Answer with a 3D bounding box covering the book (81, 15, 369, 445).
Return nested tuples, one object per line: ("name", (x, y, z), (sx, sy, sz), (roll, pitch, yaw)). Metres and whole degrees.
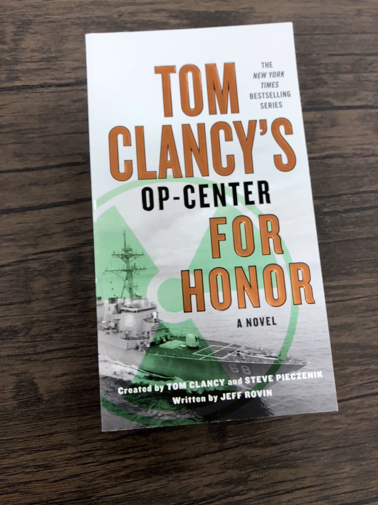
("book", (0.012, -0.016, 0.212), (0.113, 0.040, 0.190), (-4, 82, -4))
